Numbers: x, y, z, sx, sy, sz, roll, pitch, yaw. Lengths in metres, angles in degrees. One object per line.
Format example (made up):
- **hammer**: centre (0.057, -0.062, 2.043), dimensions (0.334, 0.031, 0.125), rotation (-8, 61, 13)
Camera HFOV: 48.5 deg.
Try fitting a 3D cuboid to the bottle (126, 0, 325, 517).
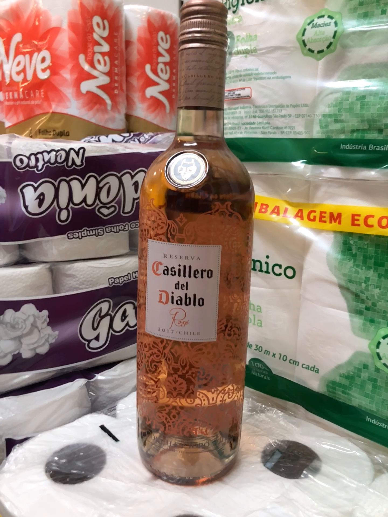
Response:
- **bottle**: centre (0.021, 0.008, 0.270), dimensions (0.090, 0.309, 0.080), rotation (5, 13, 21)
